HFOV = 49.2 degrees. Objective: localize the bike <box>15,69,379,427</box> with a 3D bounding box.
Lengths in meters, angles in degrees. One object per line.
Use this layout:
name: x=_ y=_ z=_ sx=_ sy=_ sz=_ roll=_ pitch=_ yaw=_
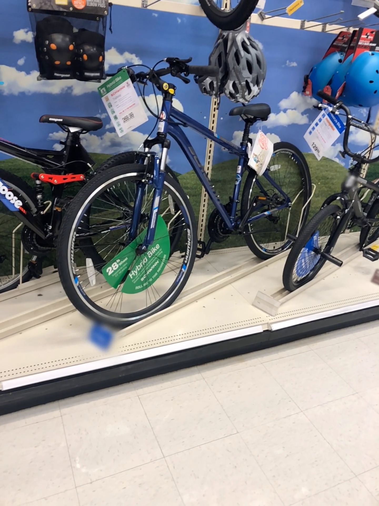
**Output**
bike: x=0.171 y=-0.238 z=1.980 sx=0.531 sy=1.098 sz=1.742 roll=27 pitch=35 yaw=37
